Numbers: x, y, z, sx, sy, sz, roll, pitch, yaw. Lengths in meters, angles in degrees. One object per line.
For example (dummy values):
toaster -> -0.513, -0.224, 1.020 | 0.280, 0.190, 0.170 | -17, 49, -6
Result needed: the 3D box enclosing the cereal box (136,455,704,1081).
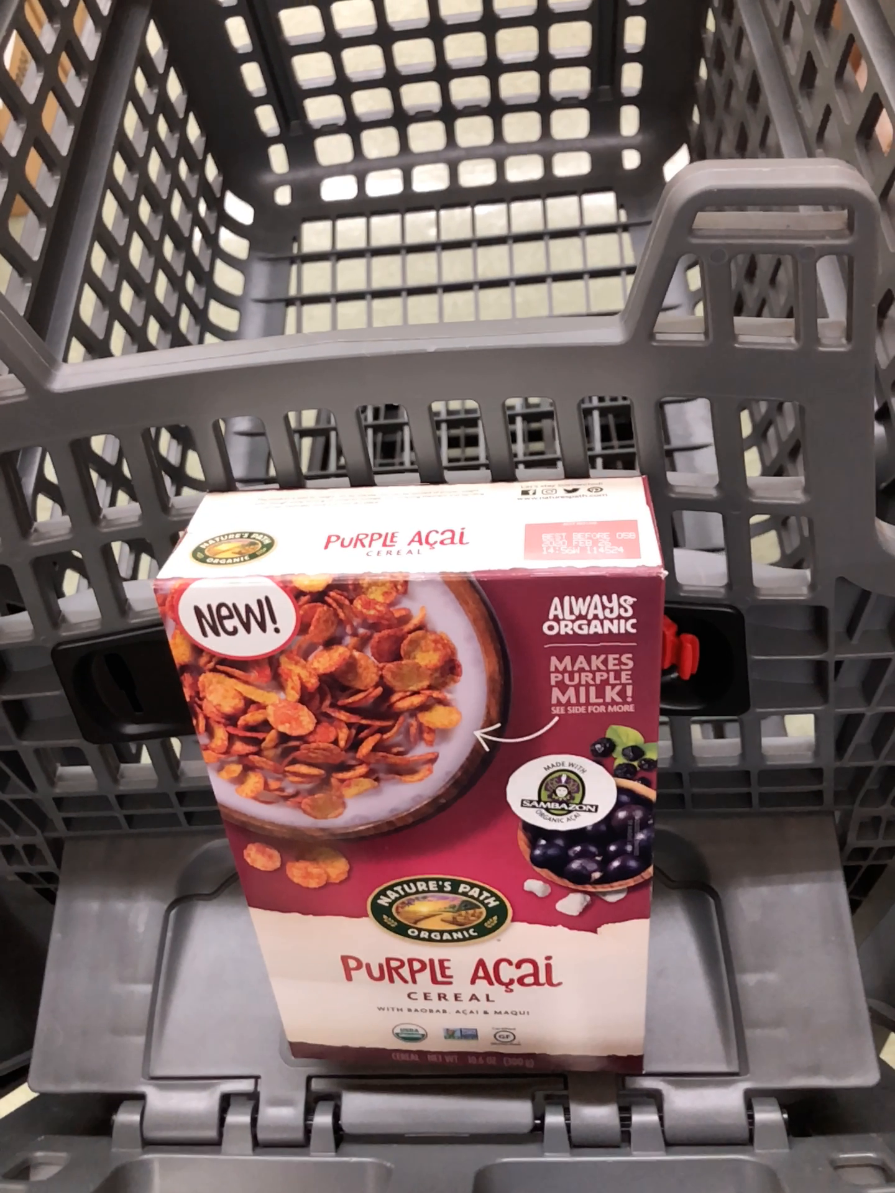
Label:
cereal box -> 0.001, 0.084, 0.399 | 0.170, 0.270, 0.070 | -1, 34, 5
